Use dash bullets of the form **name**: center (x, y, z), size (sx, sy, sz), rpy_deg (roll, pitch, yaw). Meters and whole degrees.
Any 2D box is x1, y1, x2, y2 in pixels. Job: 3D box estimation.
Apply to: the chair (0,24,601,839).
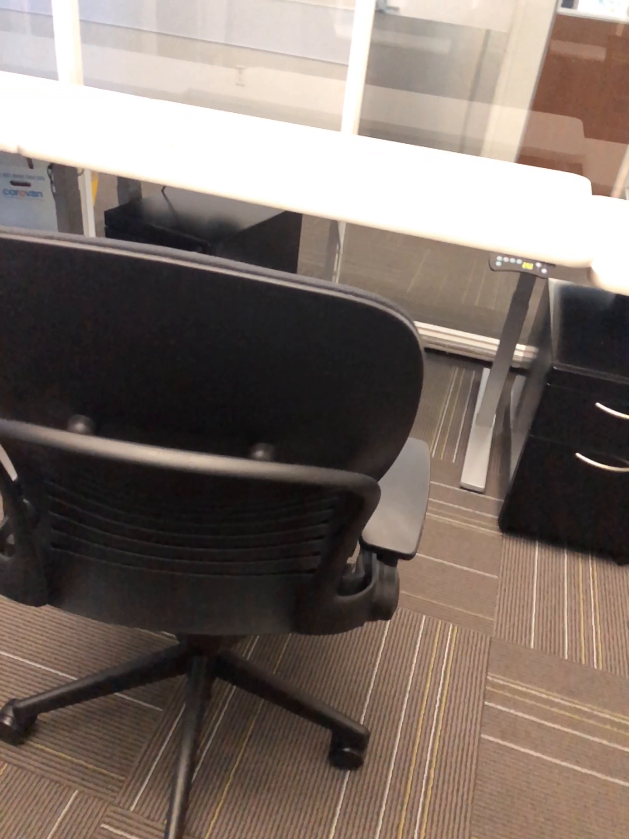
- **chair**: center (-0.192, 0.046, 1.092), size (0.730, 1.034, 0.834), rpy_deg (8, 34, 1)
